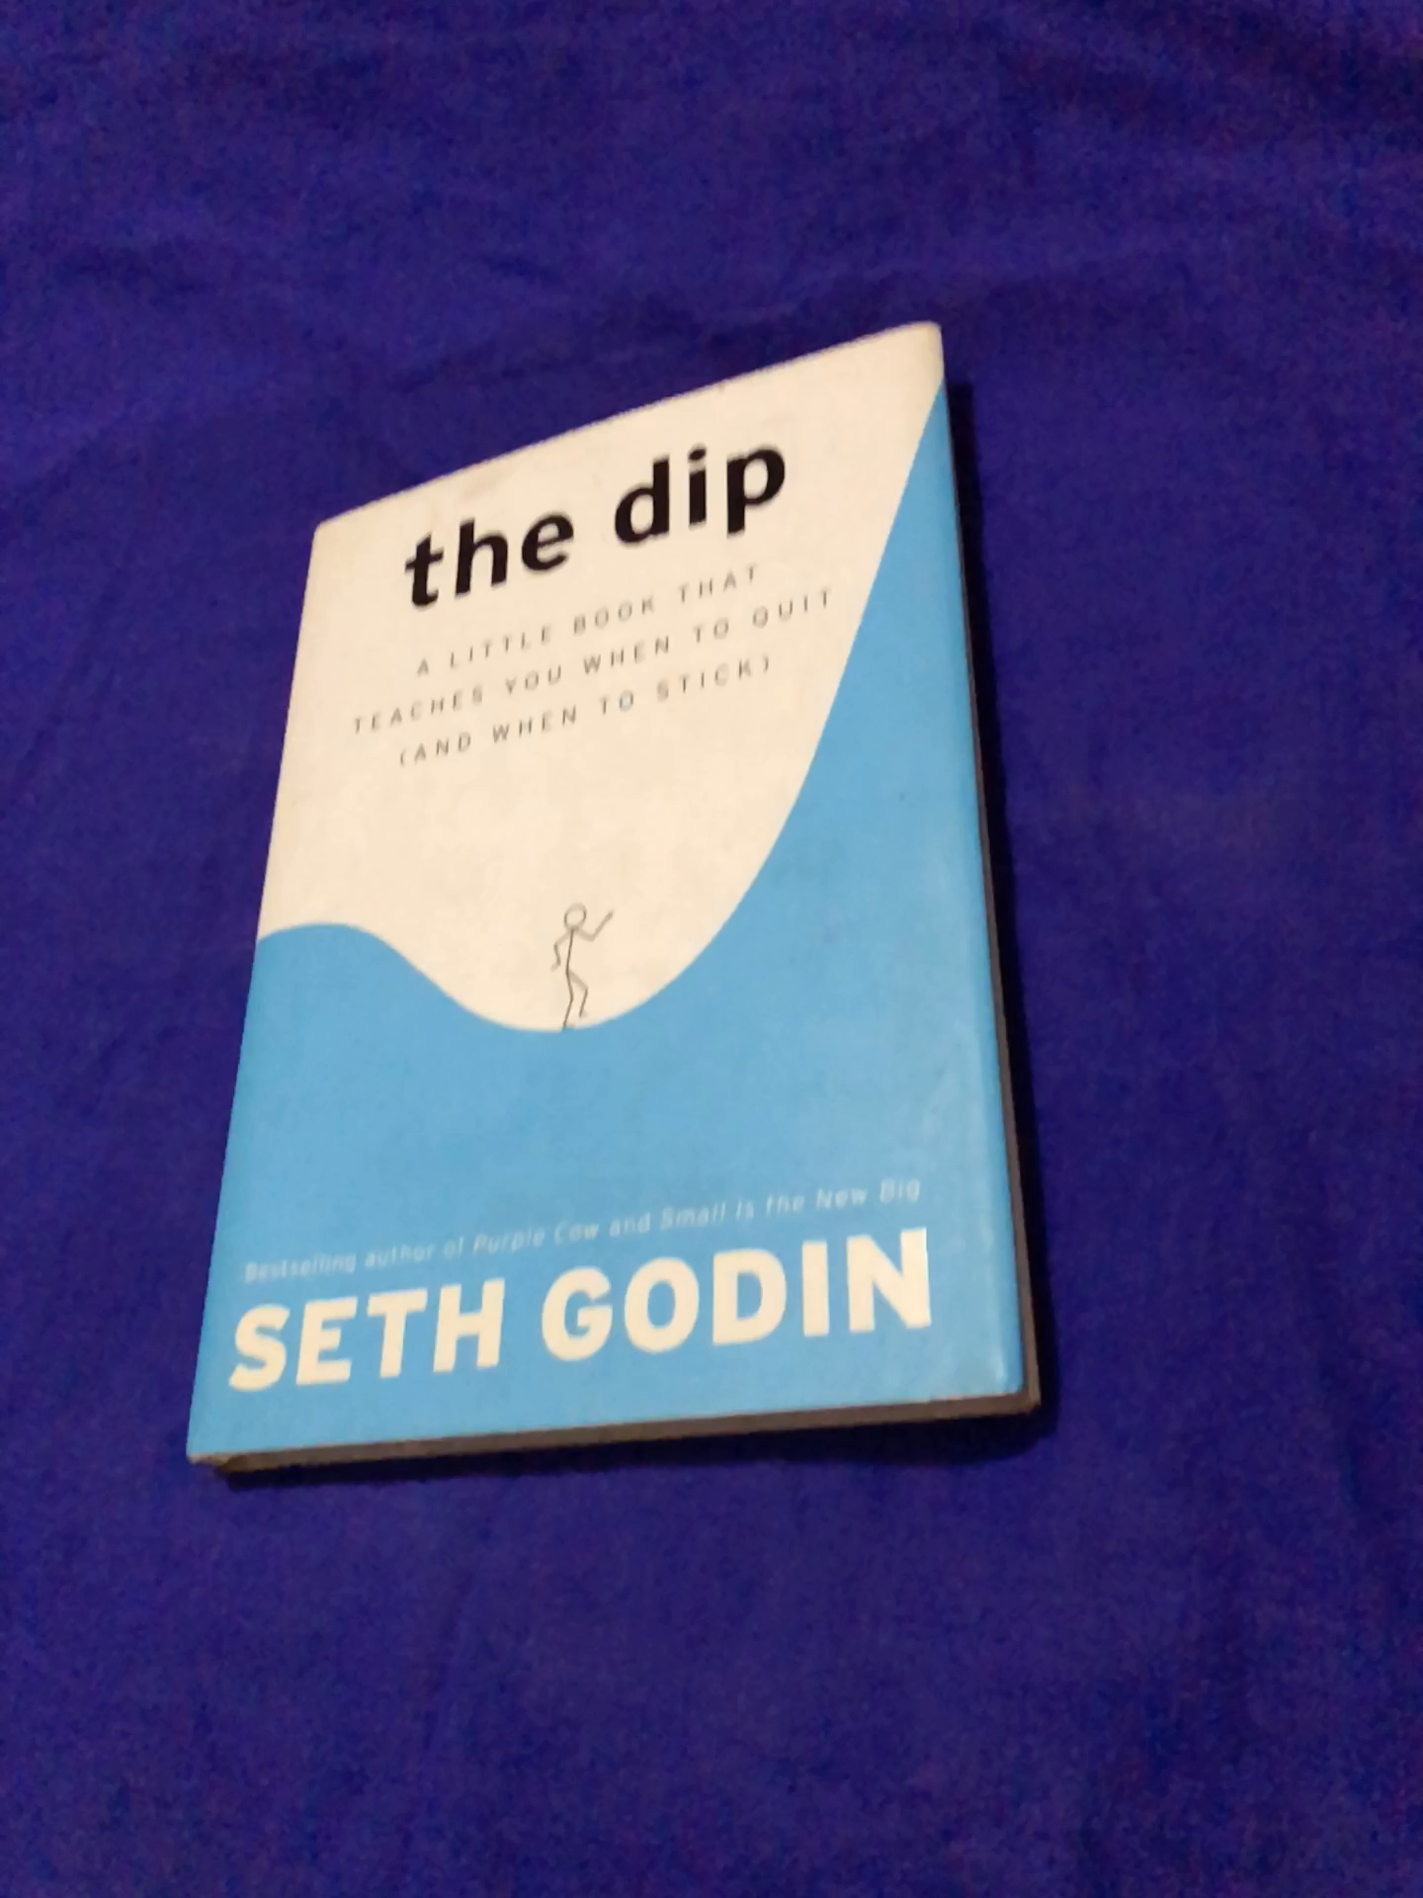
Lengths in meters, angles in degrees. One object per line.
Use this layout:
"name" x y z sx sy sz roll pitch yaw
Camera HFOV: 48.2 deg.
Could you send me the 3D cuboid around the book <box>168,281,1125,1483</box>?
"book" -0.015 -0.015 0.268 0.140 0.020 0.190 -11 61 20
